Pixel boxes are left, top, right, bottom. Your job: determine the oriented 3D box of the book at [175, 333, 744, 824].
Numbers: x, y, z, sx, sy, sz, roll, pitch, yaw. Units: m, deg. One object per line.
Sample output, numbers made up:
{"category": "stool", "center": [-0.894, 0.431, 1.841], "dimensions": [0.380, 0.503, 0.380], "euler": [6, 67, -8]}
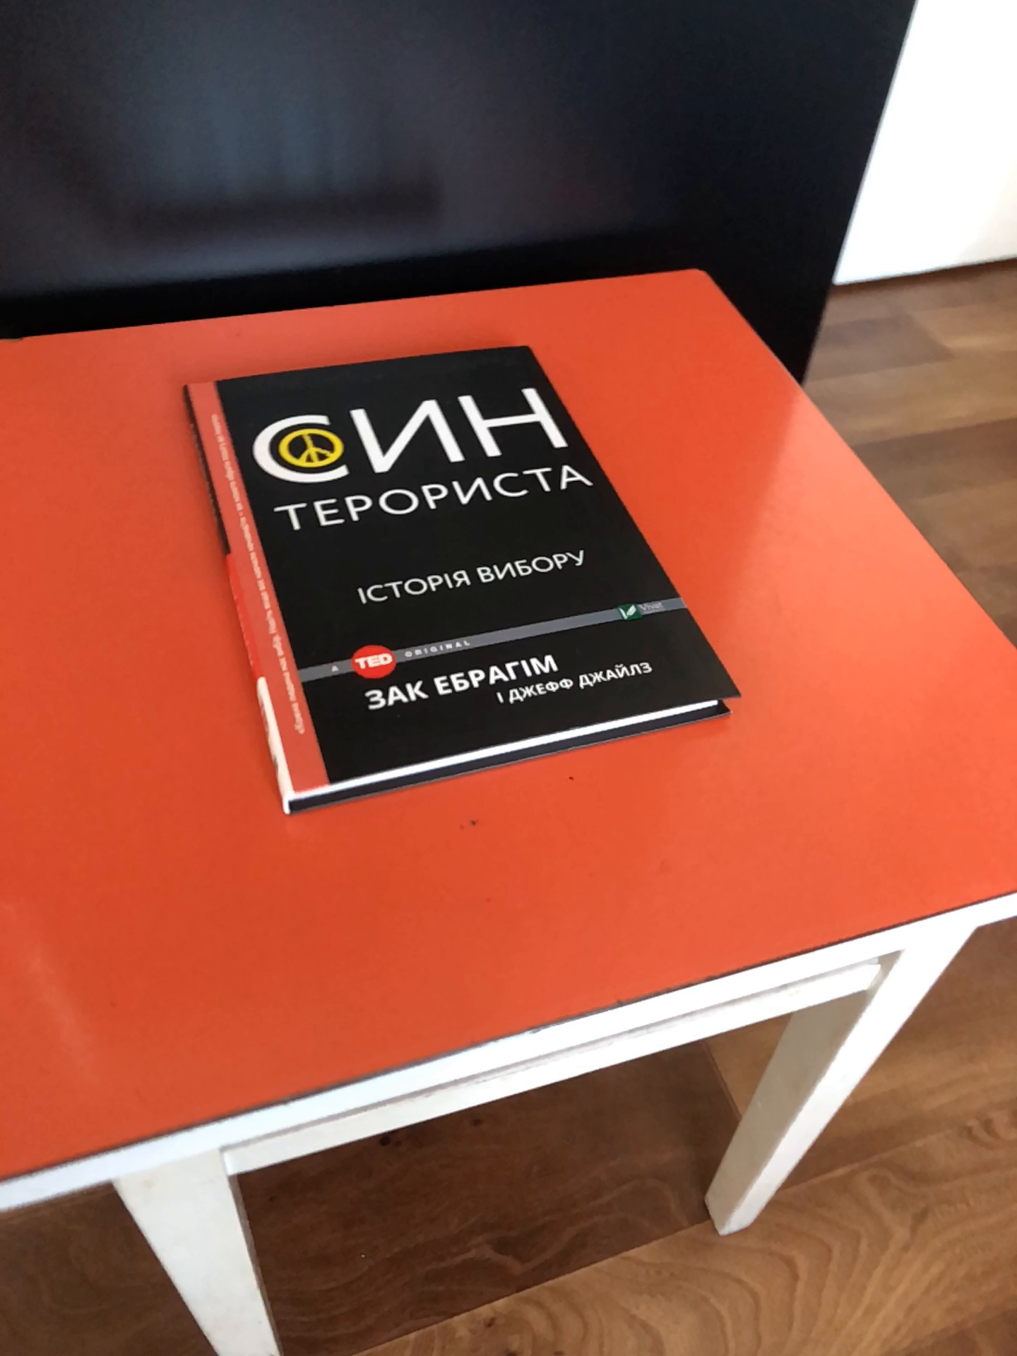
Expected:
{"category": "book", "center": [-0.028, -0.050, 0.379], "dimensions": [0.140, 0.016, 0.198], "euler": [-11, 50, -15]}
